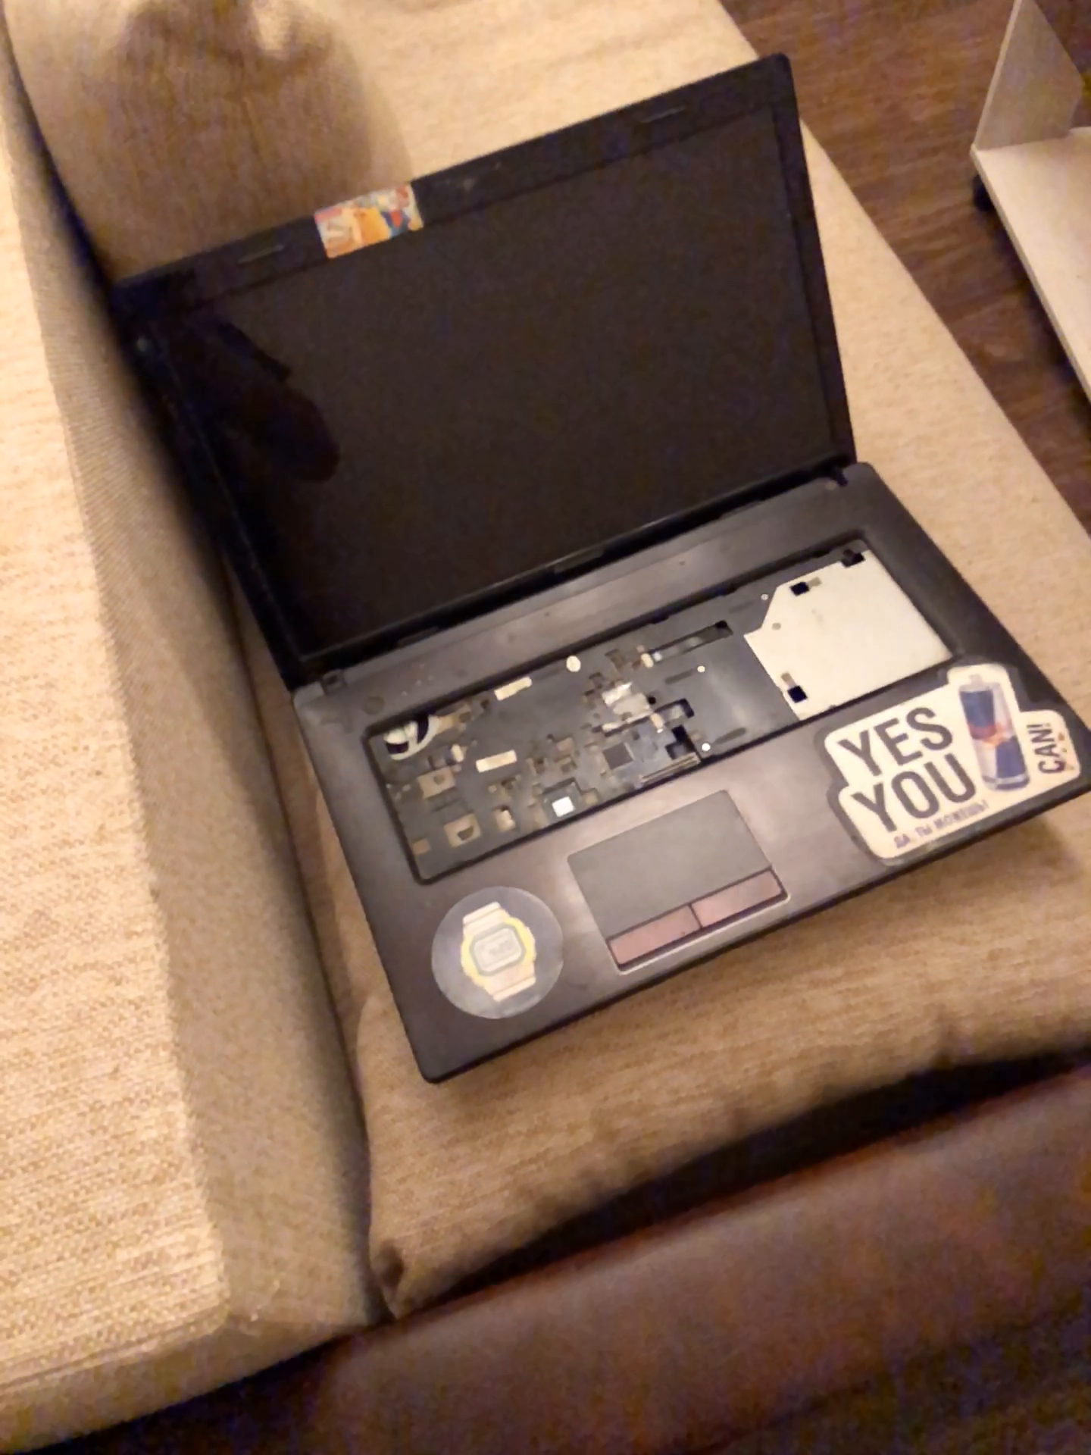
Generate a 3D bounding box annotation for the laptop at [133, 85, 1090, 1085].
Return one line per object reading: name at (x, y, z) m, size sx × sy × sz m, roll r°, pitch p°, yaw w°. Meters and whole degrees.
laptop at (0.045, -0.098, 0.665) m, size 0.412 × 0.198 × 0.409 m, roll -22°, pitch 60°, yaw -8°
